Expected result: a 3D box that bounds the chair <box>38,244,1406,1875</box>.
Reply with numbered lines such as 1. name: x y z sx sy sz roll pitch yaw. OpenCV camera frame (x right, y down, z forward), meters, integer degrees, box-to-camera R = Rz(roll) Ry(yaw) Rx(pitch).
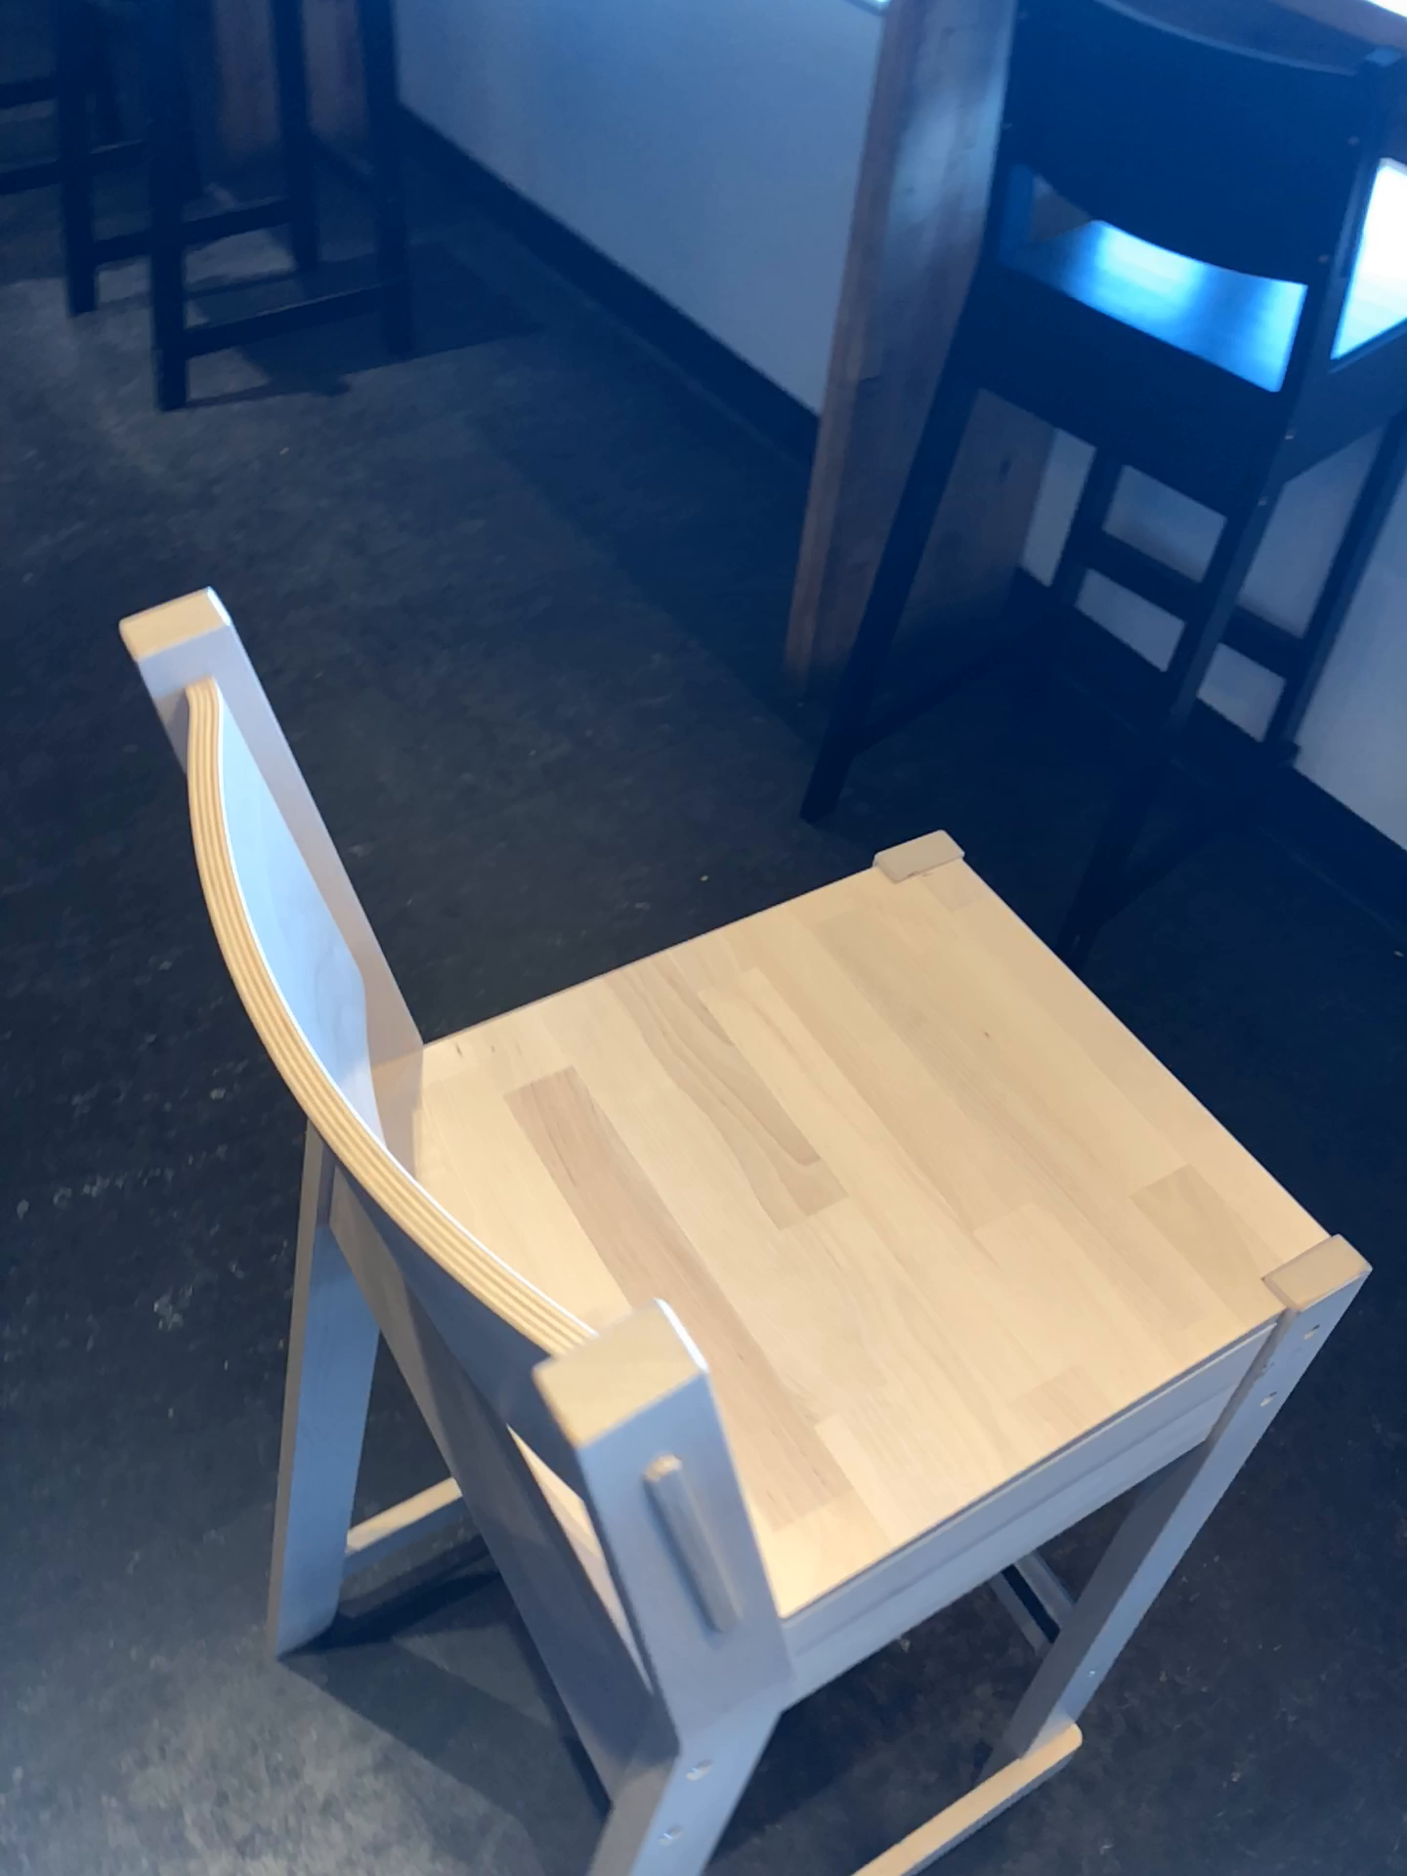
1. chair: 0.078 0.235 0.866 0.541 0.977 0.461 -21 52 -24
